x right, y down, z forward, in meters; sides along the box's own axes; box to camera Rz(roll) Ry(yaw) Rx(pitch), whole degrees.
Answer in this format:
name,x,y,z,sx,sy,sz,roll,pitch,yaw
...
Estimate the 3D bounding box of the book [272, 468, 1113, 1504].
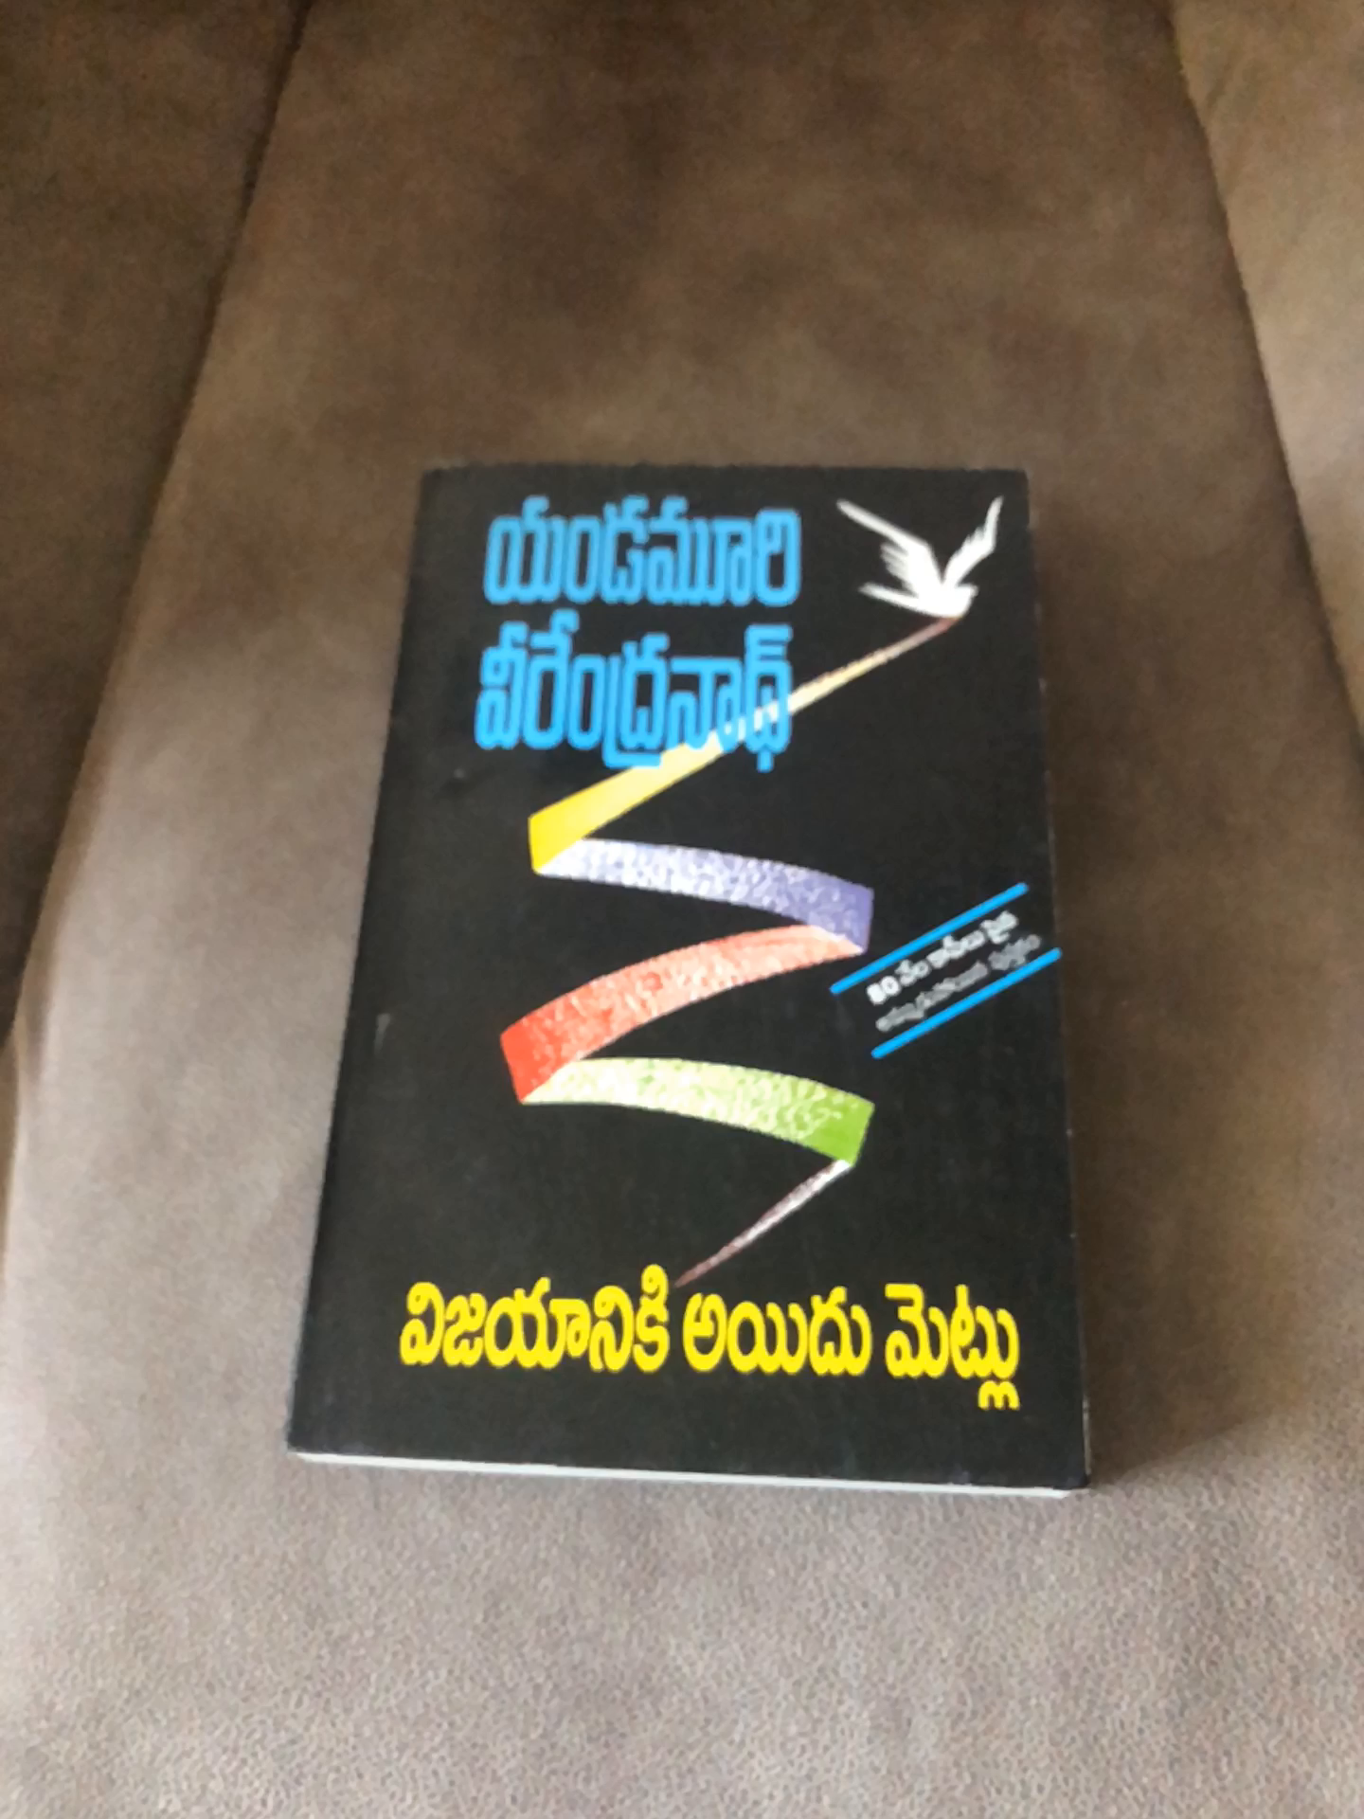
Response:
name,x,y,z,sx,sy,sz,roll,pitch,yaw
book,0.006,0.005,0.314,0.144,0.026,0.212,2,67,3
